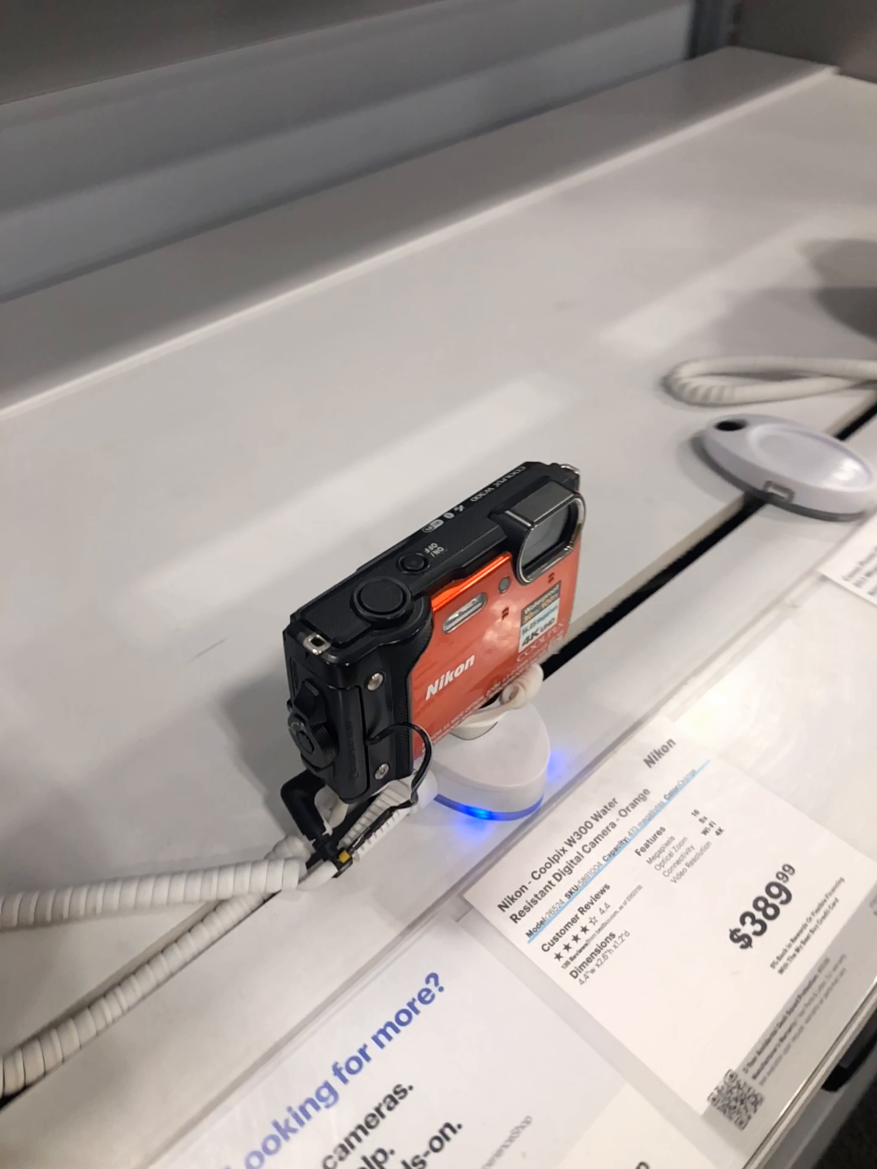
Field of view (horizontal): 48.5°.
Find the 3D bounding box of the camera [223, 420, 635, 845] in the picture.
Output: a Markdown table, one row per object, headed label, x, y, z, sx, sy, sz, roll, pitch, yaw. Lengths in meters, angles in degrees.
| label | x | y | z | sx | sy | sz | roll | pitch | yaw |
| --- | --- | --- | --- | --- | --- | --- | --- | --- | --- |
| camera | 0.002 | 0.009 | 0.285 | 0.040 | 0.060 | 0.120 | 32 | 52 | 31 |
